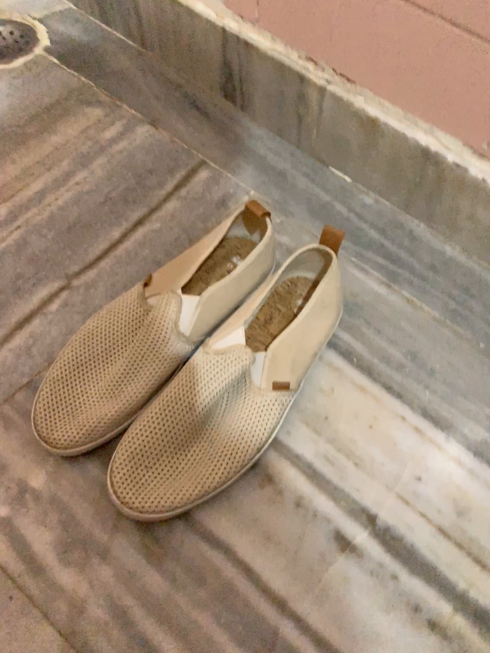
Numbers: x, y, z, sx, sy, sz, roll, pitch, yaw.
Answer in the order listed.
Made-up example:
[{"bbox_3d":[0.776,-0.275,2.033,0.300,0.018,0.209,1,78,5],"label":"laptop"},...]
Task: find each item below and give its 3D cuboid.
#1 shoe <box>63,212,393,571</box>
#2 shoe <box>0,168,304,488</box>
[{"bbox_3d":[0.000,0.044,0.458,0.116,0.080,0.310,34,64,13],"label":"shoe"},{"bbox_3d":[-0.089,-0.012,0.483,0.116,0.080,0.310,38,66,15],"label":"shoe"}]
